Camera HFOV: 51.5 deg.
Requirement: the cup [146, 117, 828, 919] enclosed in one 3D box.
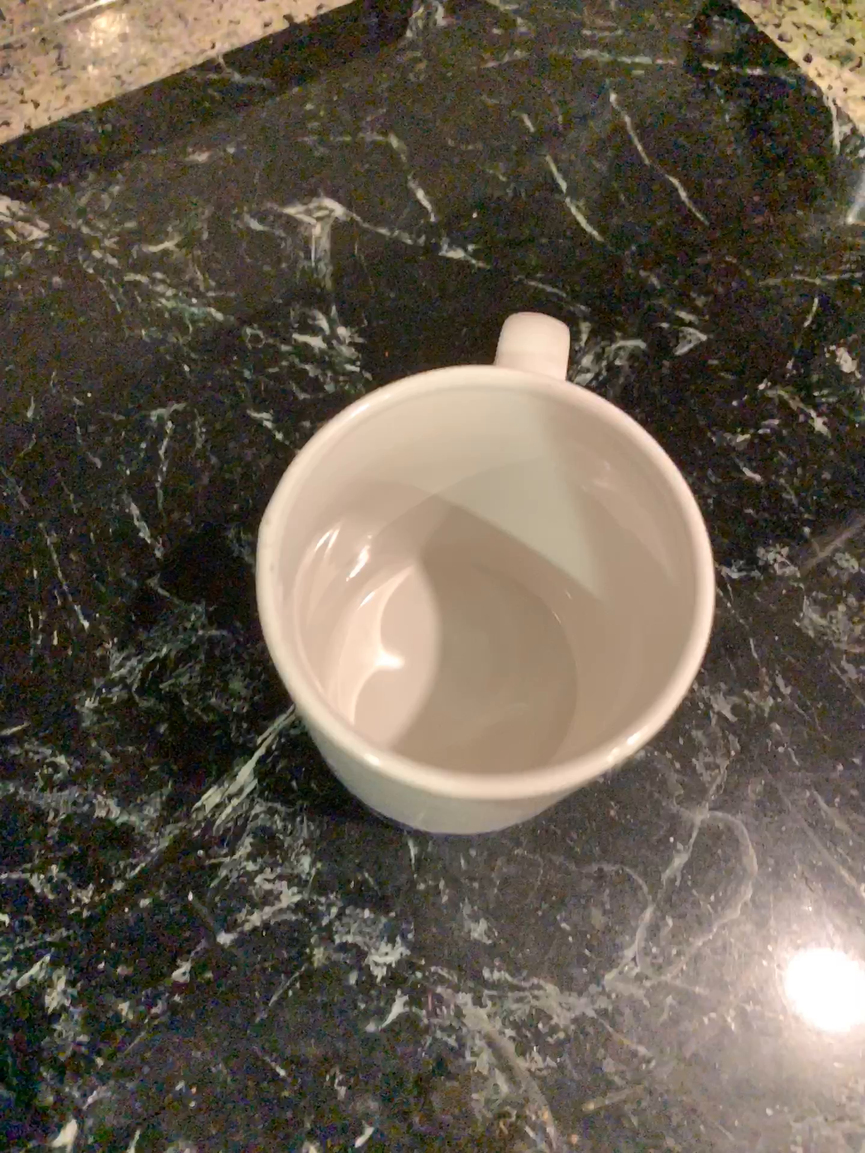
[{"bbox_3d":[0.015,-0.004,0.199,0.090,0.100,0.131,13,70,3],"label":"cup"}]
